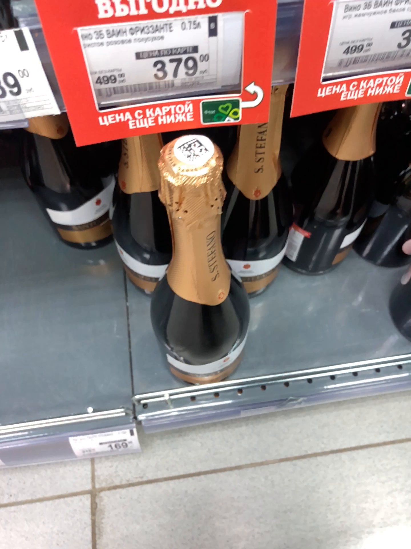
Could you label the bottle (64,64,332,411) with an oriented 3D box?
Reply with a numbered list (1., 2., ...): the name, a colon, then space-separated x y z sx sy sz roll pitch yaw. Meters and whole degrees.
1. bottle: -0.004 0.009 0.359 0.100 0.299 0.090 -29 66 -14
